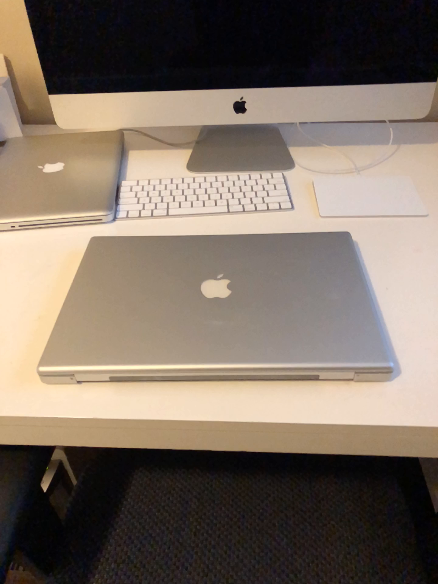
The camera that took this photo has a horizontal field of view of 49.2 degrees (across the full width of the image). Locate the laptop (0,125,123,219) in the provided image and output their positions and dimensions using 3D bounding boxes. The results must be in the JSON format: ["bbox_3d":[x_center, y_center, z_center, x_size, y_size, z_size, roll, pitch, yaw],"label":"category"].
[{"bbox_3d":[-0.282,-0.212,0.803,0.200,0.009,0.280,-2,42,-4],"label":"laptop"}]

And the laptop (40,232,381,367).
[{"bbox_3d":[-0.004,-0.002,0.547,0.332,0.005,0.215,0,42,2],"label":"laptop"}]
